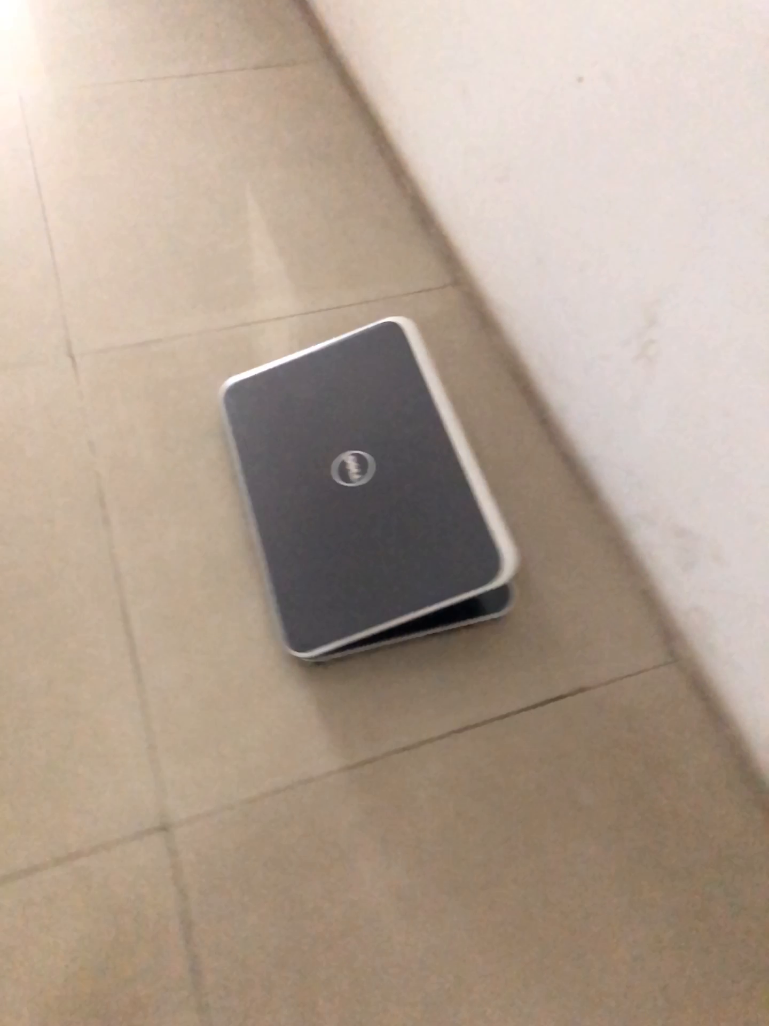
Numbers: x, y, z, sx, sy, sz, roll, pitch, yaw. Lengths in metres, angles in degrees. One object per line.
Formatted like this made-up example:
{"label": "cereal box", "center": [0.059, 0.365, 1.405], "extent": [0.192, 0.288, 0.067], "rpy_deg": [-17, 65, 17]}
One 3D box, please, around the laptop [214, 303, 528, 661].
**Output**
{"label": "laptop", "center": [-0.029, -0.050, 0.909], "extent": [0.234, 0.079, 0.361], "rpy_deg": [-13, 60, -11]}
